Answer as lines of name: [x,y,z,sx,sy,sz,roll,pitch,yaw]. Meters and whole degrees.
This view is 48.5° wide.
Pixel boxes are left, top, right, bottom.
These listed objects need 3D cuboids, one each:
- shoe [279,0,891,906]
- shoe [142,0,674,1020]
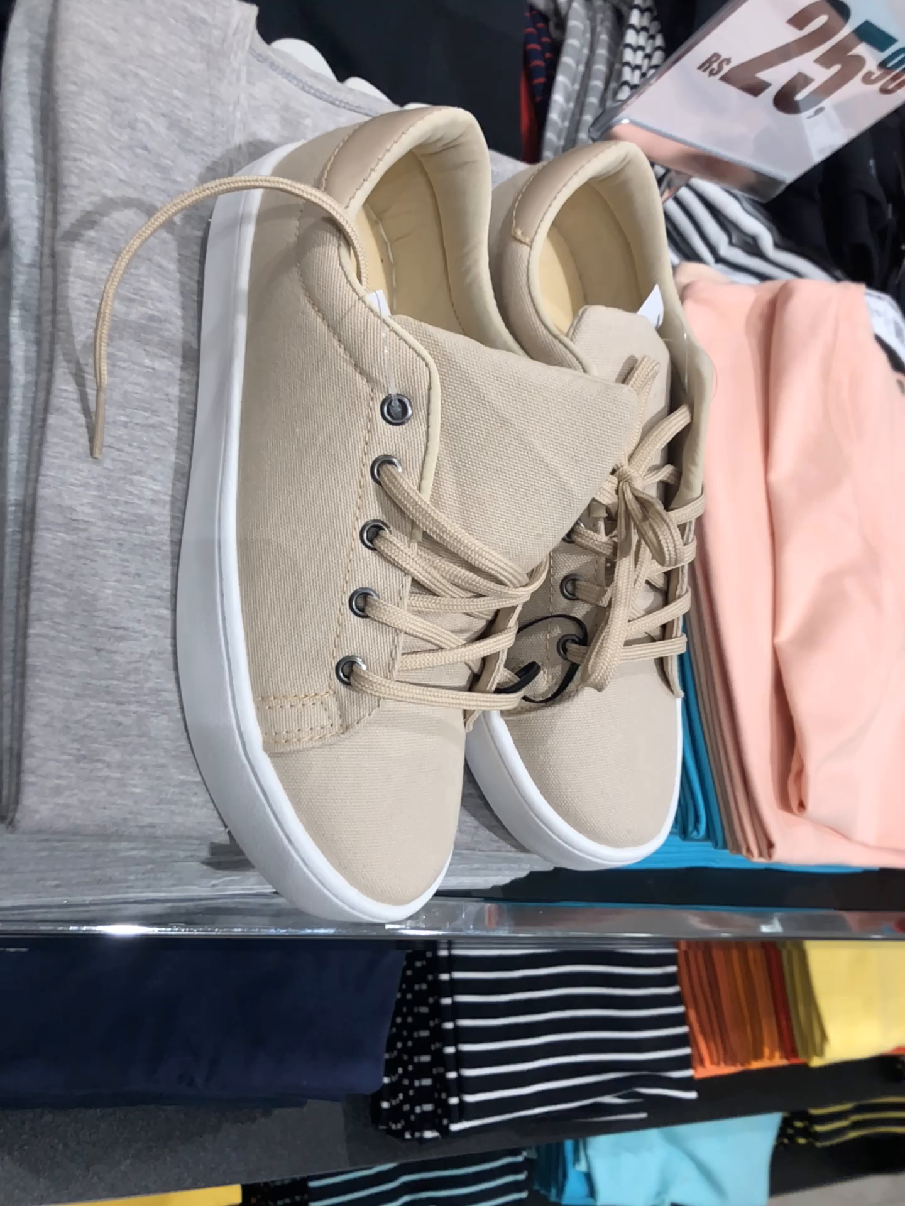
shoe: [0.033,-0.055,0.367,0.111,0.109,0.290,0,69,-37]
shoe: [-0.020,-0.038,0.309,0.100,0.109,0.280,6,76,-45]
